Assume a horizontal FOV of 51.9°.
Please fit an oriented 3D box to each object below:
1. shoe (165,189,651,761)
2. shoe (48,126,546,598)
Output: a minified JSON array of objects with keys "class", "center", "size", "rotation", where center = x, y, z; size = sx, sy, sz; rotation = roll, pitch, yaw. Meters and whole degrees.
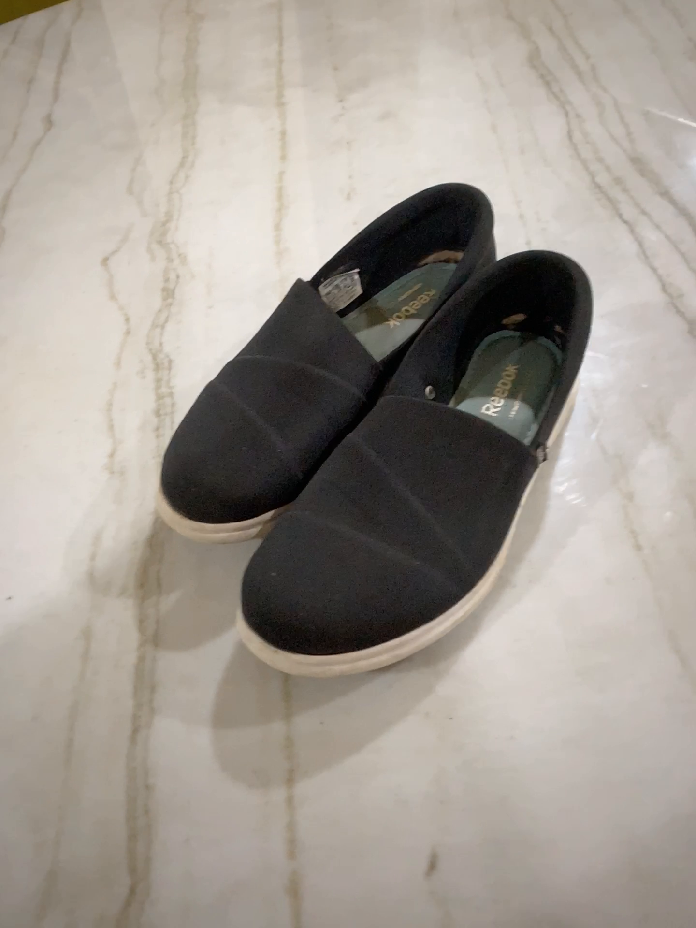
[{"class":"shoe","center":[0.039,-0.012,0.307],"size":[0.091,0.078,0.230],"rotation":[24,58,19]},{"class":"shoe","center":[-0.009,-0.062,0.346],"size":[0.091,0.078,0.230],"rotation":[32,61,24]}]
